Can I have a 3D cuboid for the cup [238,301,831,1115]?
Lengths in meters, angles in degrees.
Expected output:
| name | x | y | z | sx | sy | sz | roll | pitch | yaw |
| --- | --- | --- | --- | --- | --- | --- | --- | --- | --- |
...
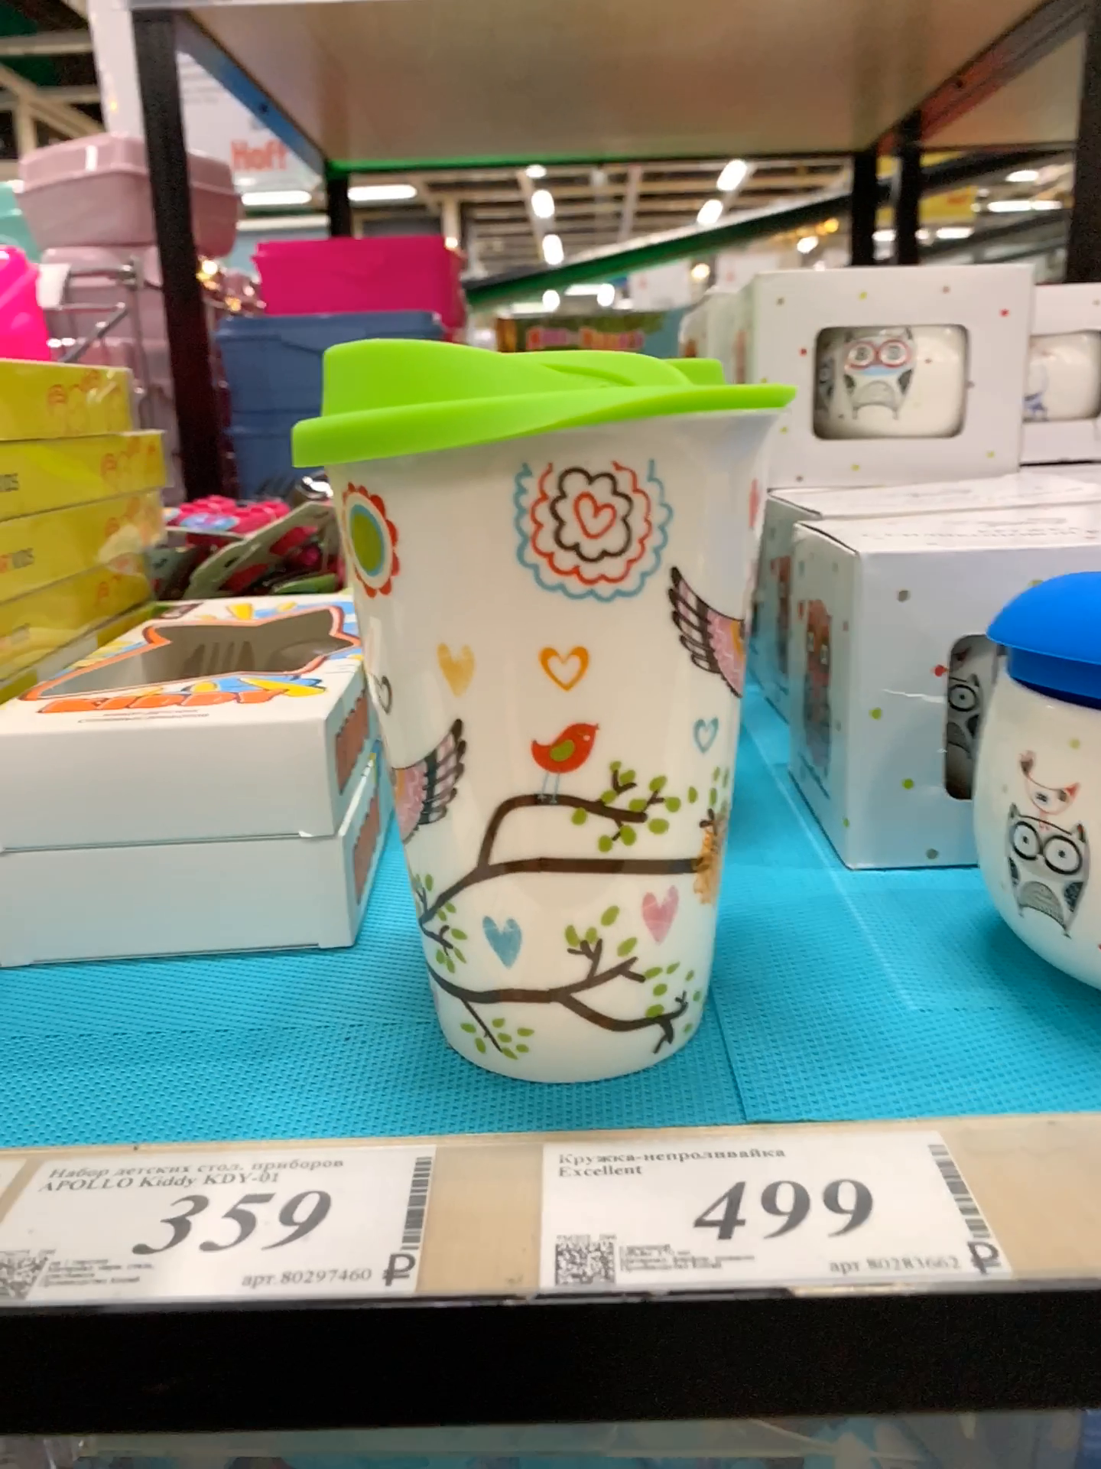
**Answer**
| name | x | y | z | sx | sy | sz | roll | pitch | yaw |
| --- | --- | --- | --- | --- | --- | --- | --- | --- | --- |
| cup | -0.001 | -0.010 | 0.232 | 0.090 | 0.136 | 0.084 | -2 | 15 | 1 |
